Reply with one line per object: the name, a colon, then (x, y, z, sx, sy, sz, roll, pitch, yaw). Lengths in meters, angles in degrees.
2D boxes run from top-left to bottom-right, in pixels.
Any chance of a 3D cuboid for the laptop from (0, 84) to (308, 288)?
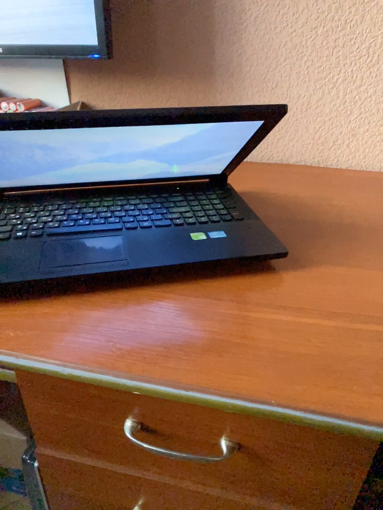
laptop: (-0.099, -0.116, 0.489, 0.377, 0.149, 0.257, -6, 31, -12)
